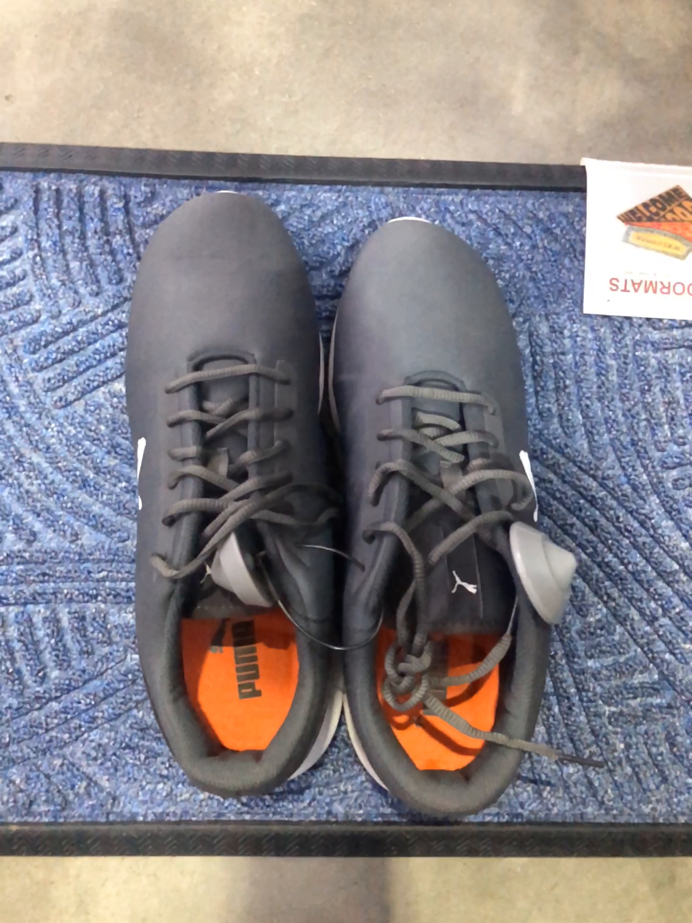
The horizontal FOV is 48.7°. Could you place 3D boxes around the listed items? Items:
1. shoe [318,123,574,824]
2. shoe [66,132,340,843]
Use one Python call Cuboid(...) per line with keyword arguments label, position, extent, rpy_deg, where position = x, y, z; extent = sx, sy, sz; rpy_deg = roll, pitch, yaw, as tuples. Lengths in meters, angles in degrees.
Cuboid(label="shoe", position=(0.038, 0.002, 0.377), extent=(0.100, 0.100, 0.300), rpy_deg=(-1, 83, -3))
Cuboid(label="shoe", position=(-0.065, 0.007, 0.376), extent=(0.110, 0.100, 0.300), rpy_deg=(-2, 83, -3))
